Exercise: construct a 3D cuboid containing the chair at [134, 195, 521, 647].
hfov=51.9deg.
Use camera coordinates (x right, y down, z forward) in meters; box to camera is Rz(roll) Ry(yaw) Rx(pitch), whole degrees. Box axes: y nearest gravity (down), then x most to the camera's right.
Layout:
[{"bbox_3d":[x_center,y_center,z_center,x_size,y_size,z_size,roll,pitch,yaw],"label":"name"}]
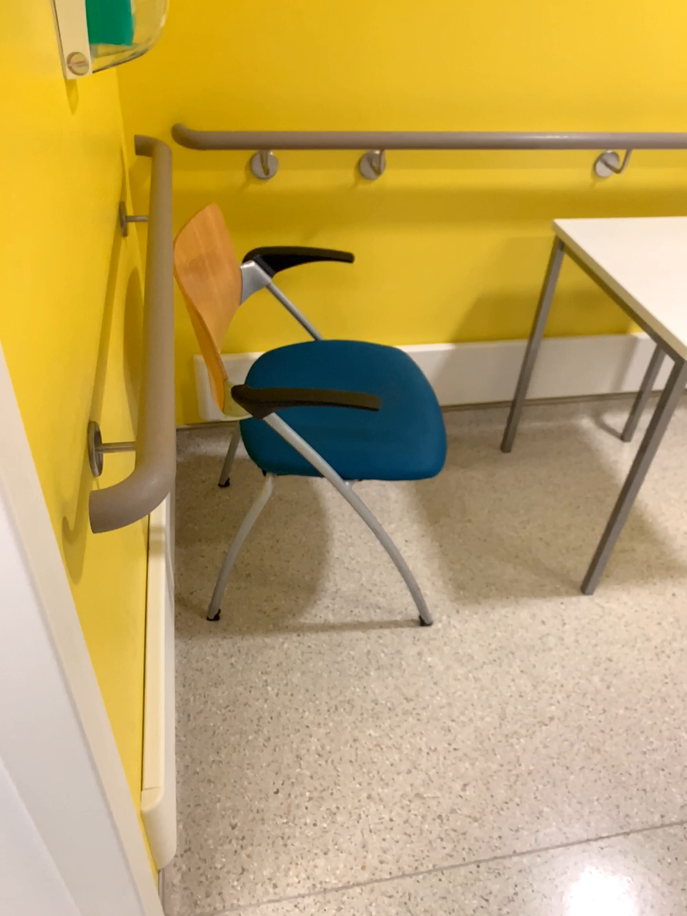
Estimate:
[{"bbox_3d":[-0.052,-0.073,1.539,0.589,0.779,0.576,0,39,-4],"label":"chair"}]
